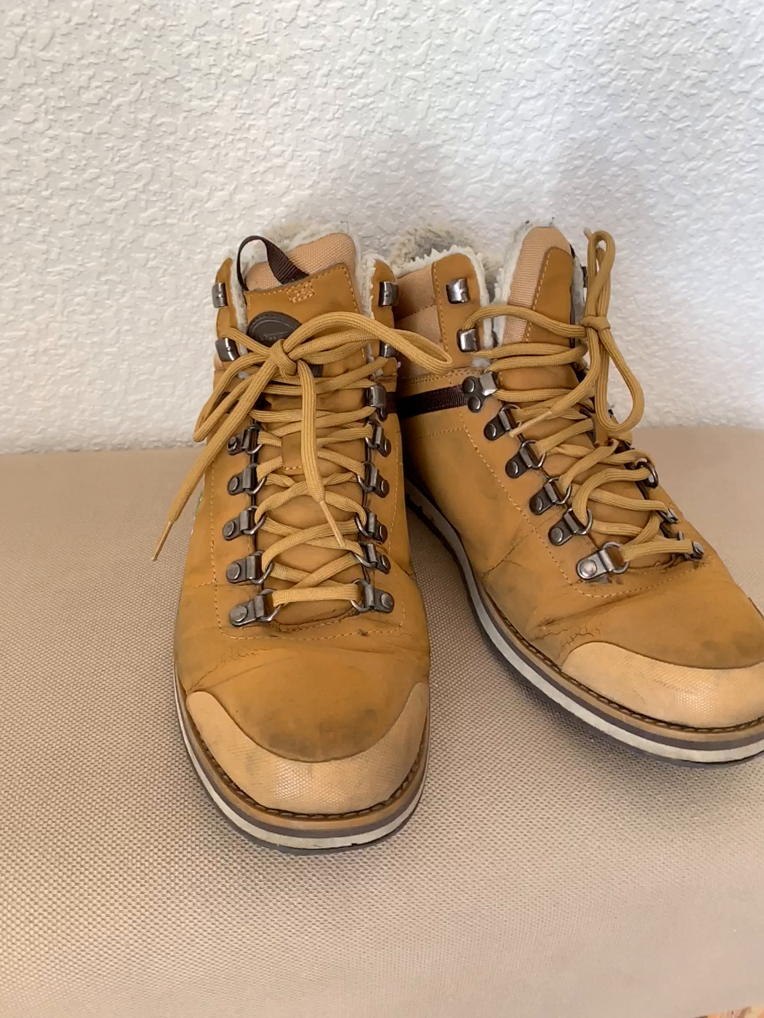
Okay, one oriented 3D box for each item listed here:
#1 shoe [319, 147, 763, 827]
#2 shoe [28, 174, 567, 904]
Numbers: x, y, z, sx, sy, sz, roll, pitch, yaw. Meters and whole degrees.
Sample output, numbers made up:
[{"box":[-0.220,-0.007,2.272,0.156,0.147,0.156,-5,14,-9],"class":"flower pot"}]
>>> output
[{"box":[0.079,-0.043,0.370,0.120,0.149,0.301,-14,43,-20],"class":"shoe"},{"box":[-0.034,-0.022,0.340,0.120,0.149,0.302,-1,38,-6],"class":"shoe"}]
